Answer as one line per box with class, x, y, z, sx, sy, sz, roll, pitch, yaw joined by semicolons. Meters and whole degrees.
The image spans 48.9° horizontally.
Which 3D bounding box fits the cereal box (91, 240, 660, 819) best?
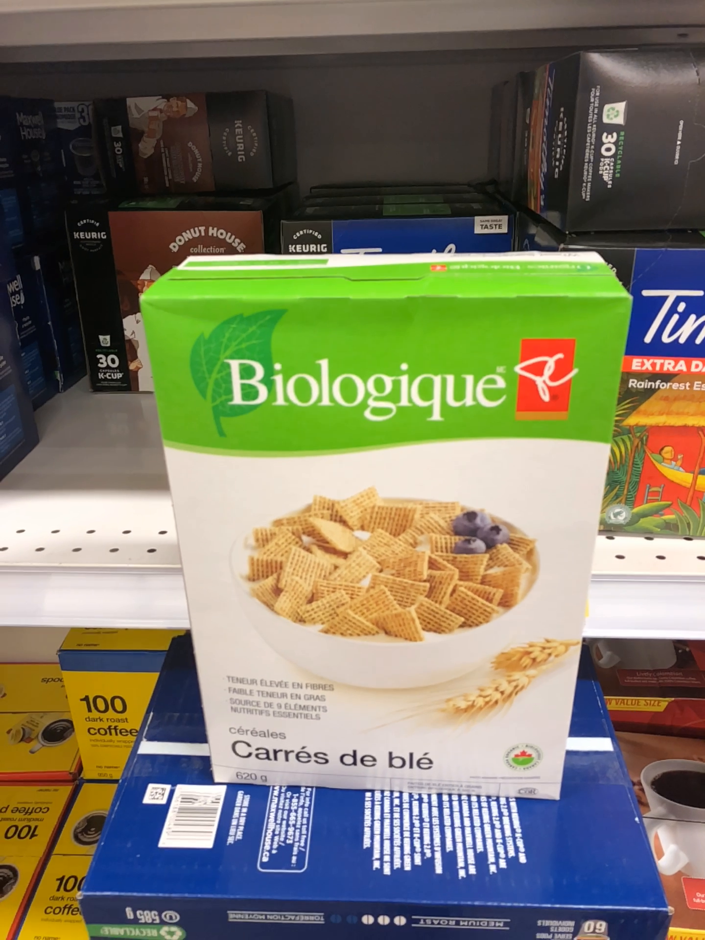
cereal box;0.013;0.041;0.387;0.210;0.289;0.070;1;29;6
